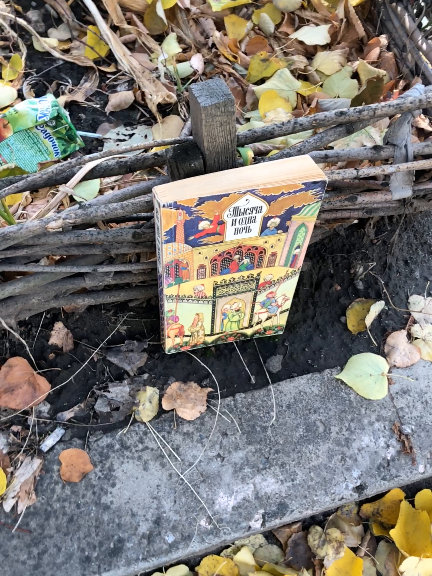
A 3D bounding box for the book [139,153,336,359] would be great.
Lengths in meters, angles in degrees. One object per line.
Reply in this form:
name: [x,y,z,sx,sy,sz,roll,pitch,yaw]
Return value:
book: [0.012,-0.014,0.375,0.122,0.182,0.029,-8,51,-8]
